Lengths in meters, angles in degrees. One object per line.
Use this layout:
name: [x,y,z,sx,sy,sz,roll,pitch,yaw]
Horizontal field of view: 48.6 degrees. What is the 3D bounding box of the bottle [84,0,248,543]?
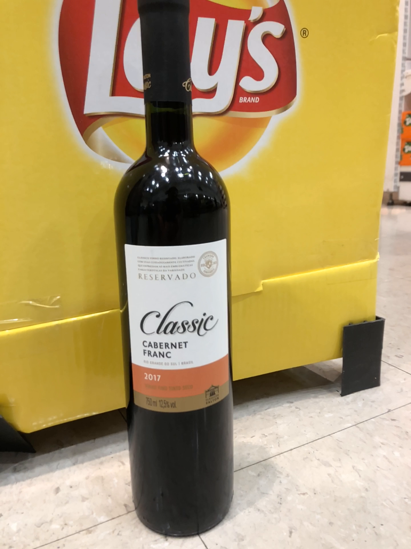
bottle: [-0.016,0.000,0.272,0.070,0.318,0.060,-3,14,-2]
